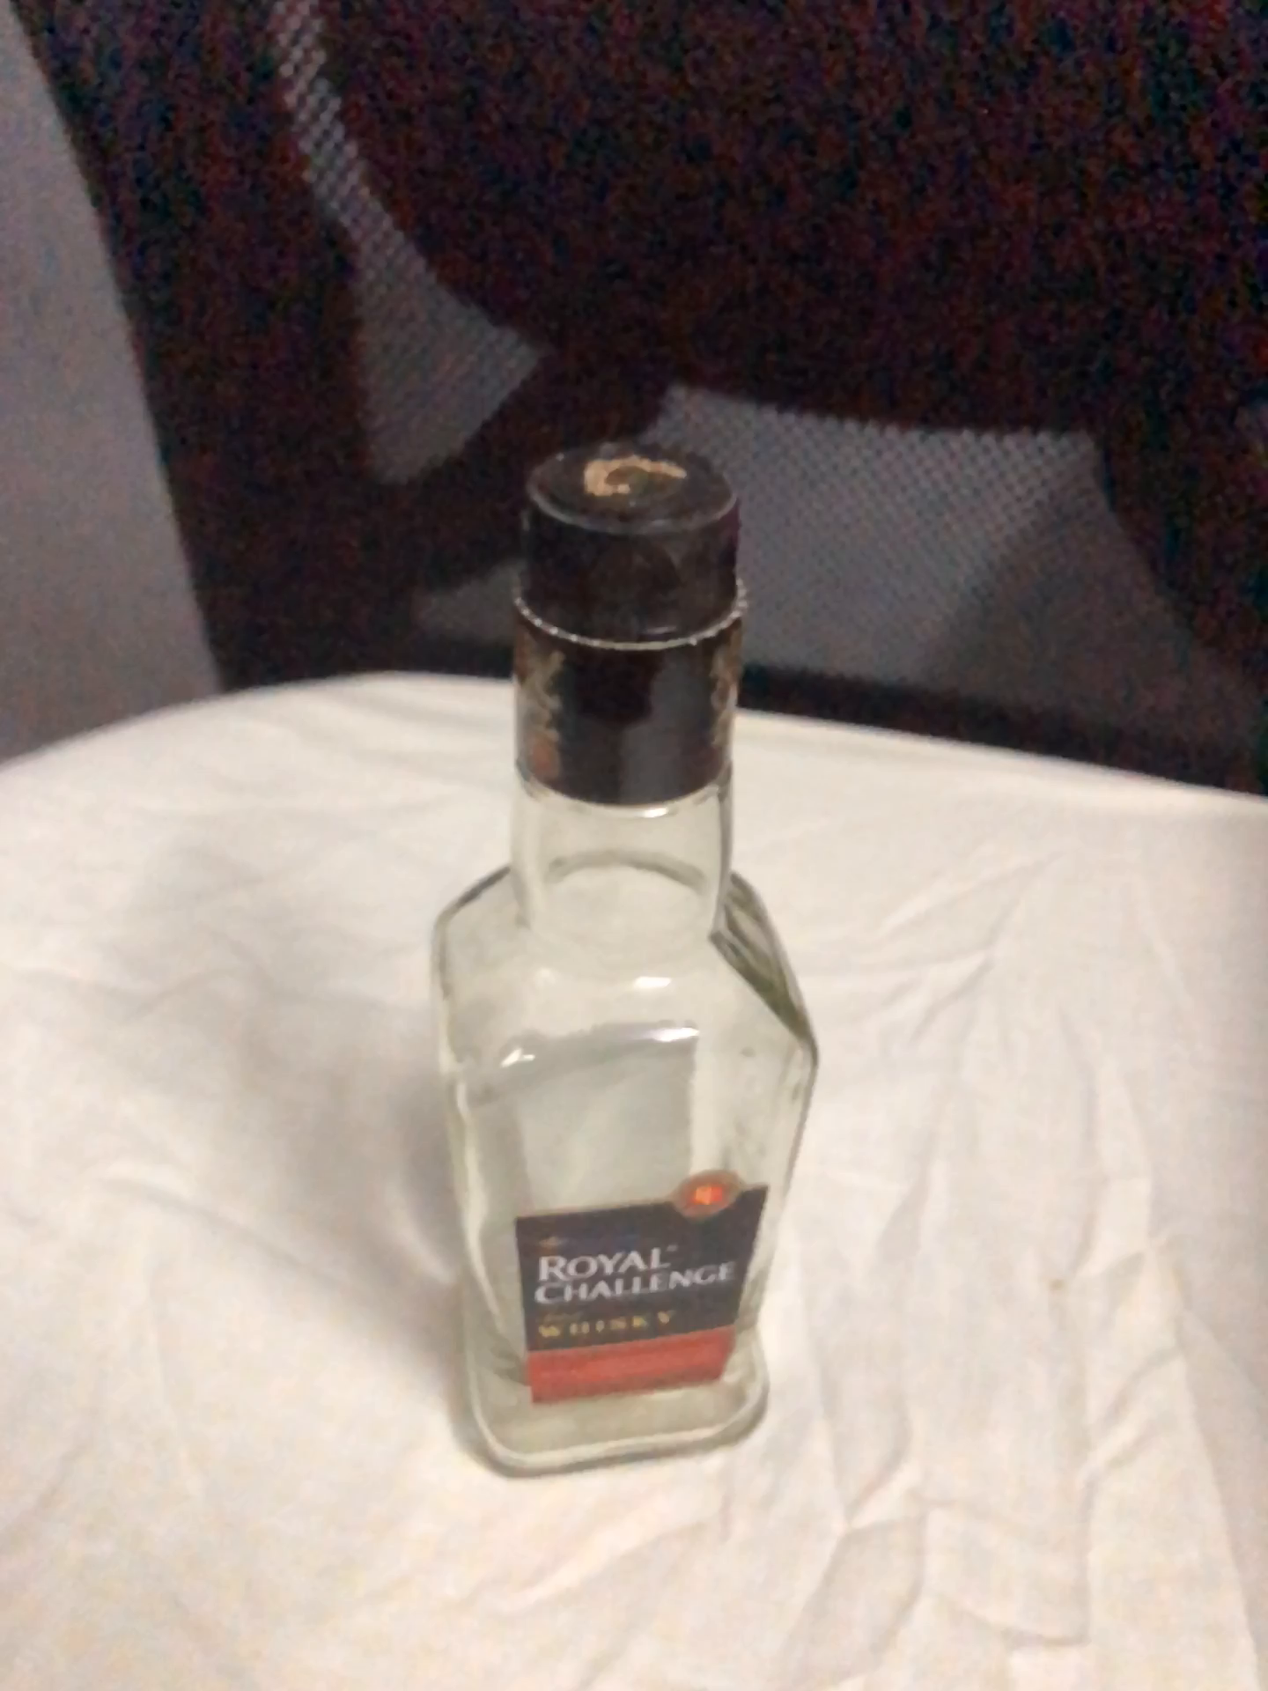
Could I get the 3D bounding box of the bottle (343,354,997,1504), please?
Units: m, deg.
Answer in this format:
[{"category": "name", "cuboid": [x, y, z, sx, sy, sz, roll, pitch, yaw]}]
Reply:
[{"category": "bottle", "cuboid": [-0.003, 0.029, 0.235, 0.070, 0.199, 0.050, -5, 39, -10]}]
